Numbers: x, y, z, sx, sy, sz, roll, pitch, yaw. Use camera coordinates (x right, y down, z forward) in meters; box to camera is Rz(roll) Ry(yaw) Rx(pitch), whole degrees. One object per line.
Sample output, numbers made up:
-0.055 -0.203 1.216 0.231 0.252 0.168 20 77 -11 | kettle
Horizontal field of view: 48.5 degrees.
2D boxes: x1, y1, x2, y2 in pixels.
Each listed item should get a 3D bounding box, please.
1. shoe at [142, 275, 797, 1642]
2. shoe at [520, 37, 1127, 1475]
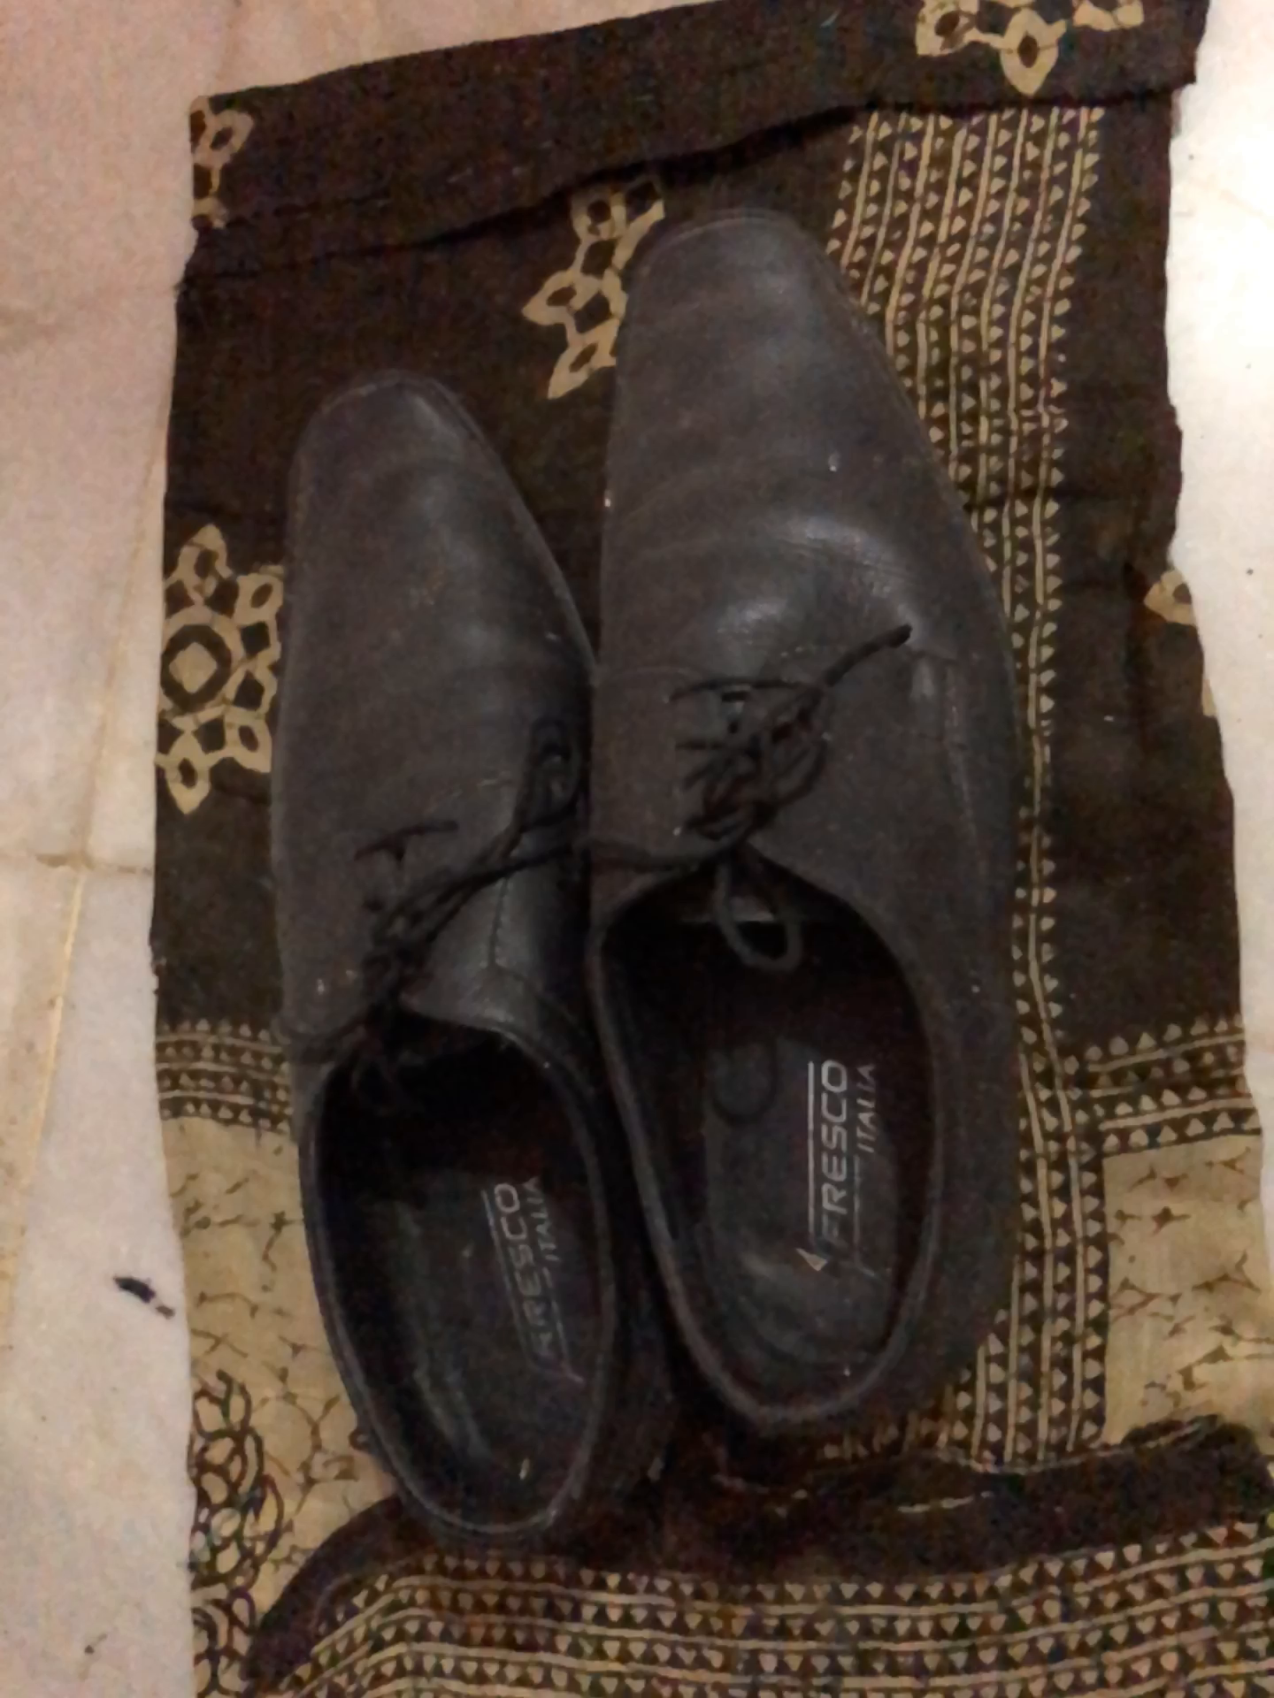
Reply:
-0.049 0.026 0.402 0.110 0.070 0.340 -13 81 14 | shoe
0.047 -0.023 0.376 0.110 0.070 0.340 -7 83 15 | shoe
